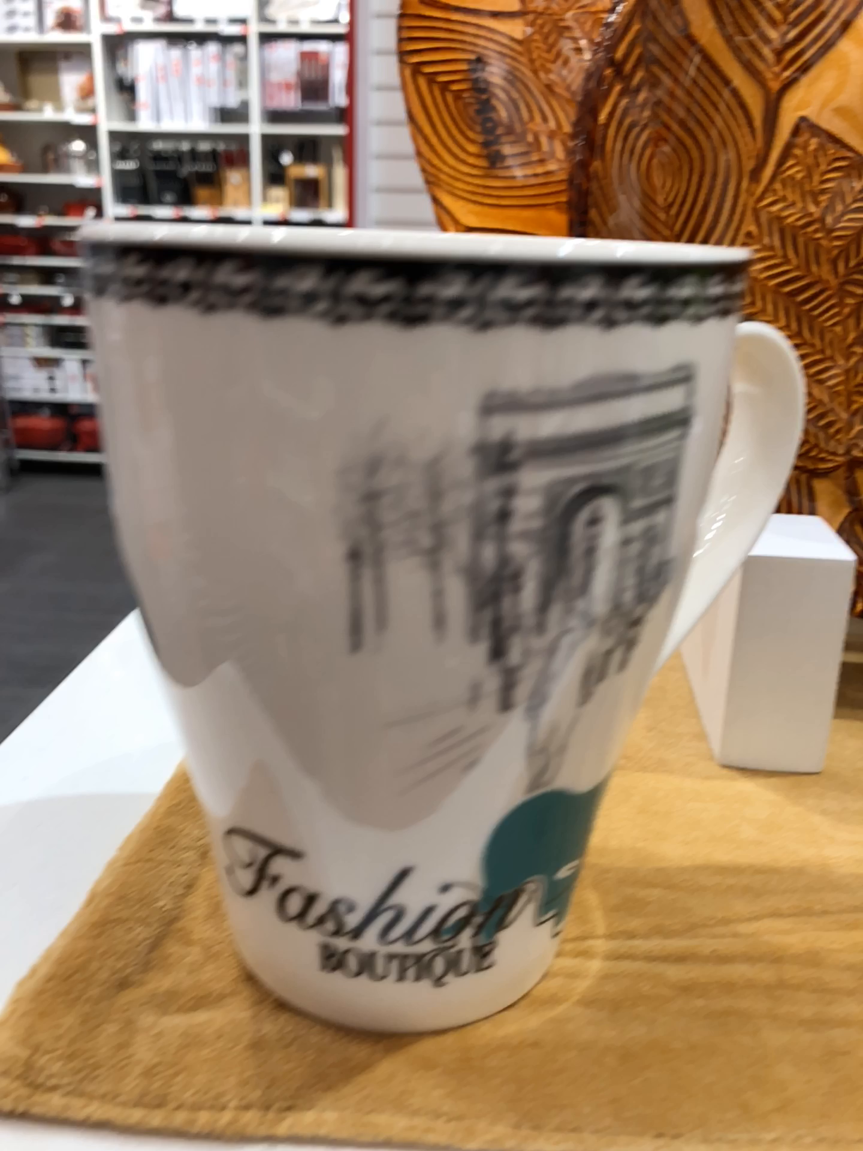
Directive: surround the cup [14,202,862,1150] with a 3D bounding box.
[{"bbox_3d":[0.008,0.000,0.145,0.110,0.100,0.080,-9,22,-28],"label":"cup"}]
